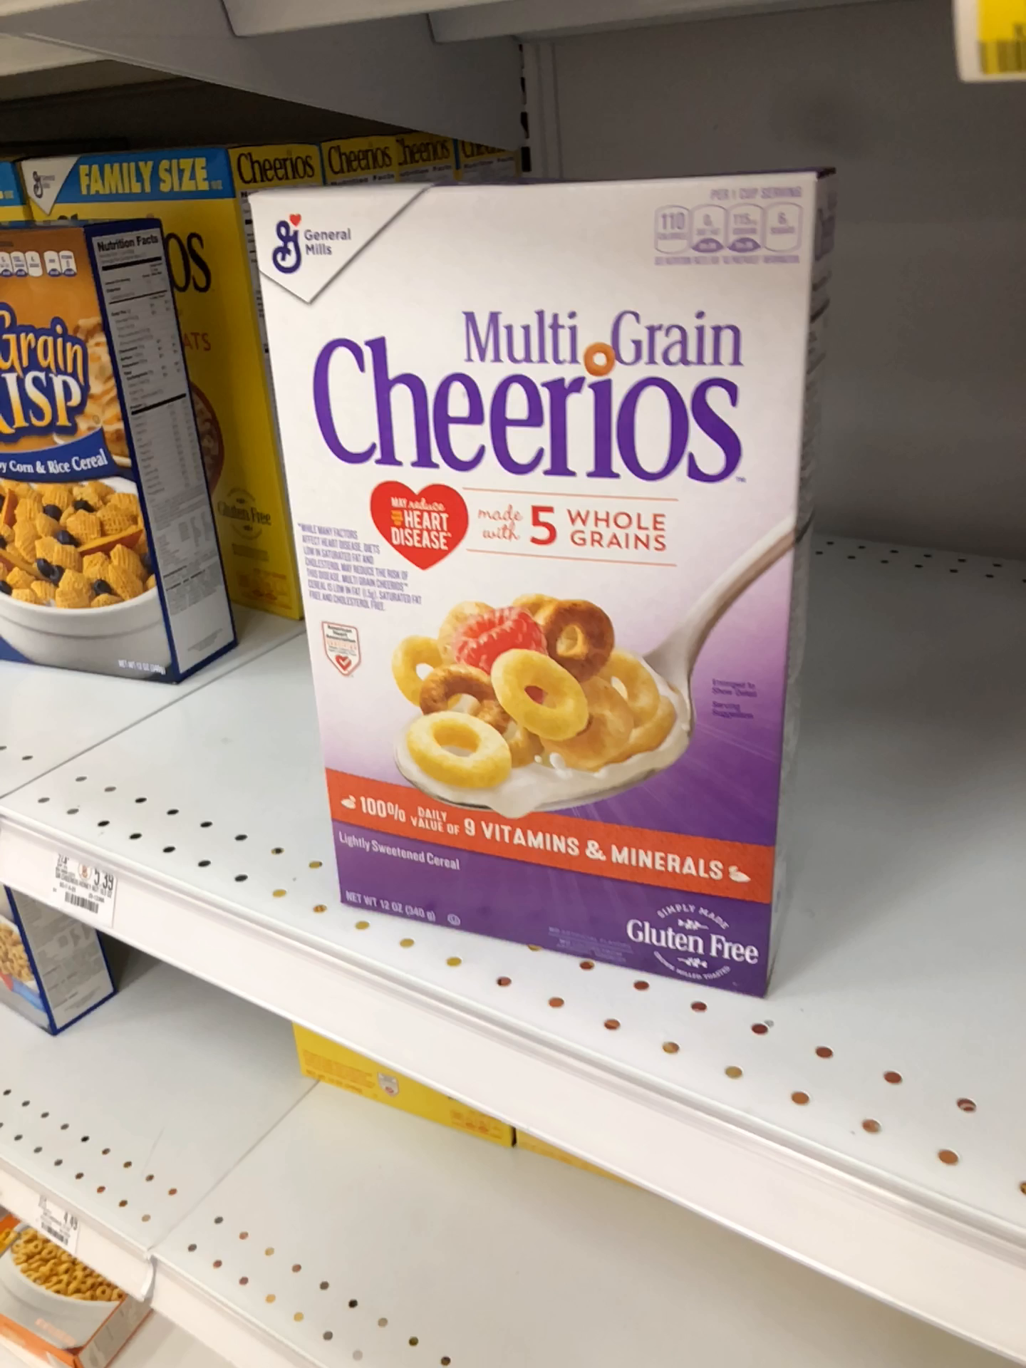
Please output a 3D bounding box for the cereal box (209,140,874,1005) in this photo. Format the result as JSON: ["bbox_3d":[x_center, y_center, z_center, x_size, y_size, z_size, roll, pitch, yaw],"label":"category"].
[{"bbox_3d":[0.015,-0.039,0.441,0.210,0.299,0.070,7,27,22],"label":"cereal box"}]
